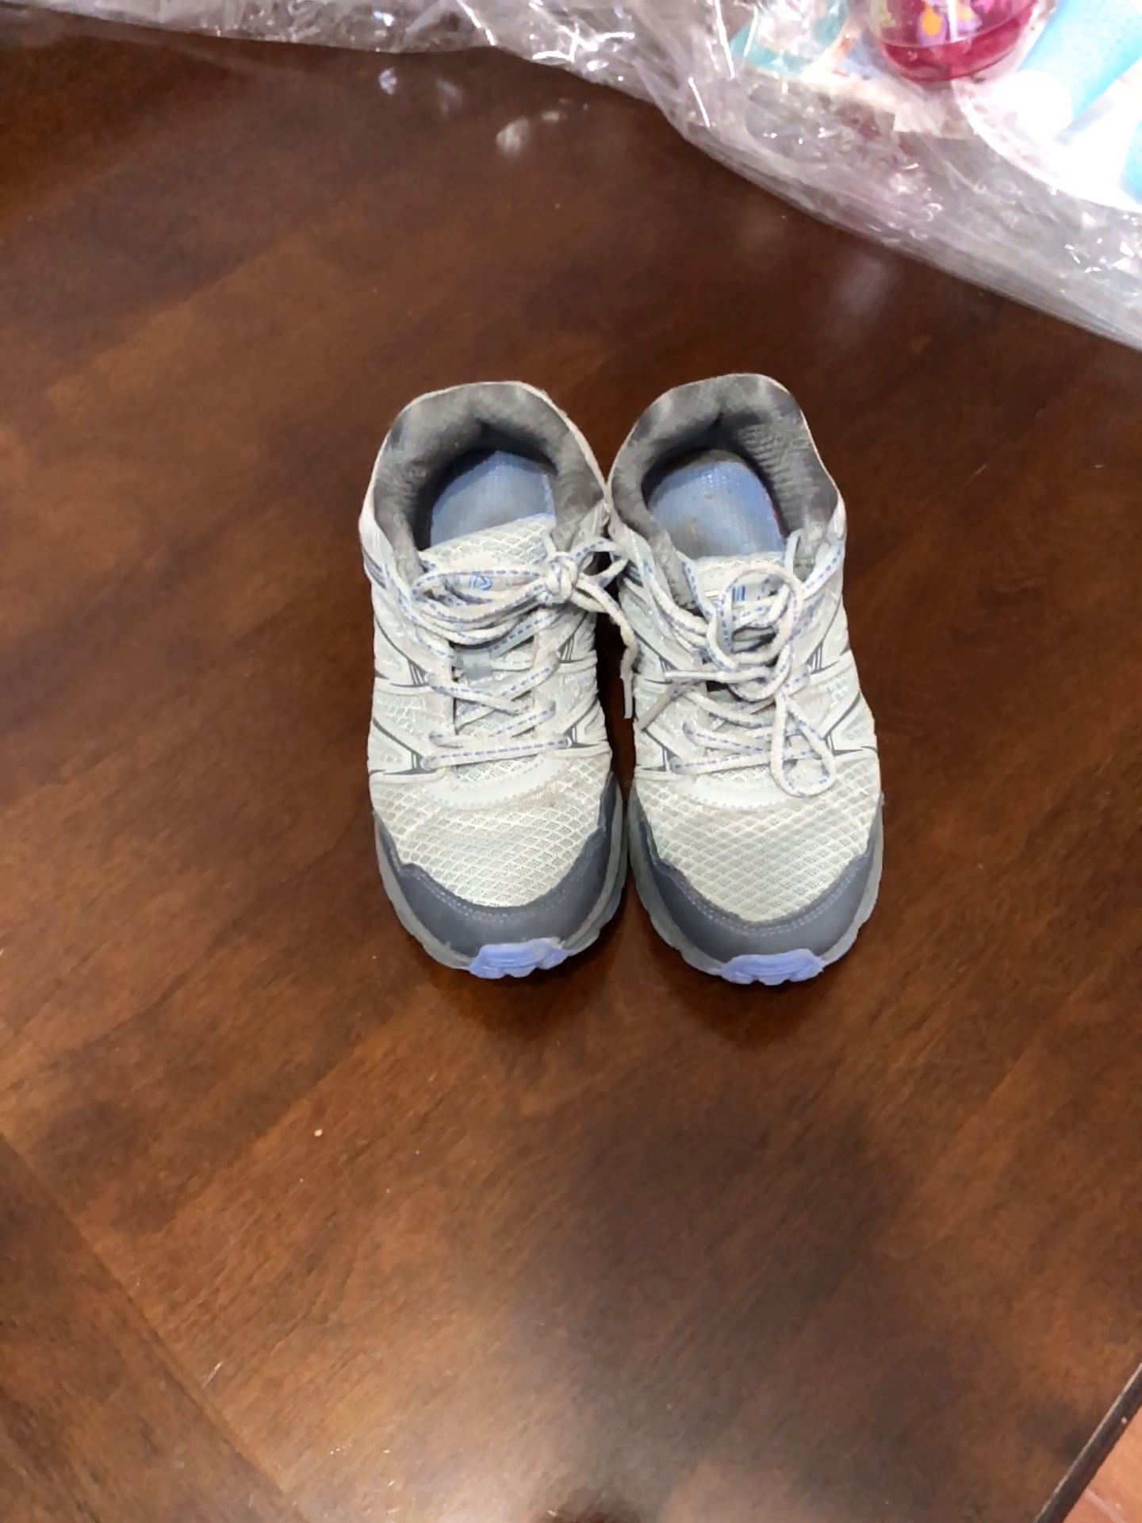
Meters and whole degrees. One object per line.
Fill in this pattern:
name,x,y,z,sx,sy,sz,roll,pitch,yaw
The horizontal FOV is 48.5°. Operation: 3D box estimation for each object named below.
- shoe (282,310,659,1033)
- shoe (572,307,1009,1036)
shoe,-0.038,-0.040,0.475,0.110,0.100,0.250,-5,59,-1
shoe,0.067,-0.042,0.485,0.110,0.100,0.260,-5,59,-1
